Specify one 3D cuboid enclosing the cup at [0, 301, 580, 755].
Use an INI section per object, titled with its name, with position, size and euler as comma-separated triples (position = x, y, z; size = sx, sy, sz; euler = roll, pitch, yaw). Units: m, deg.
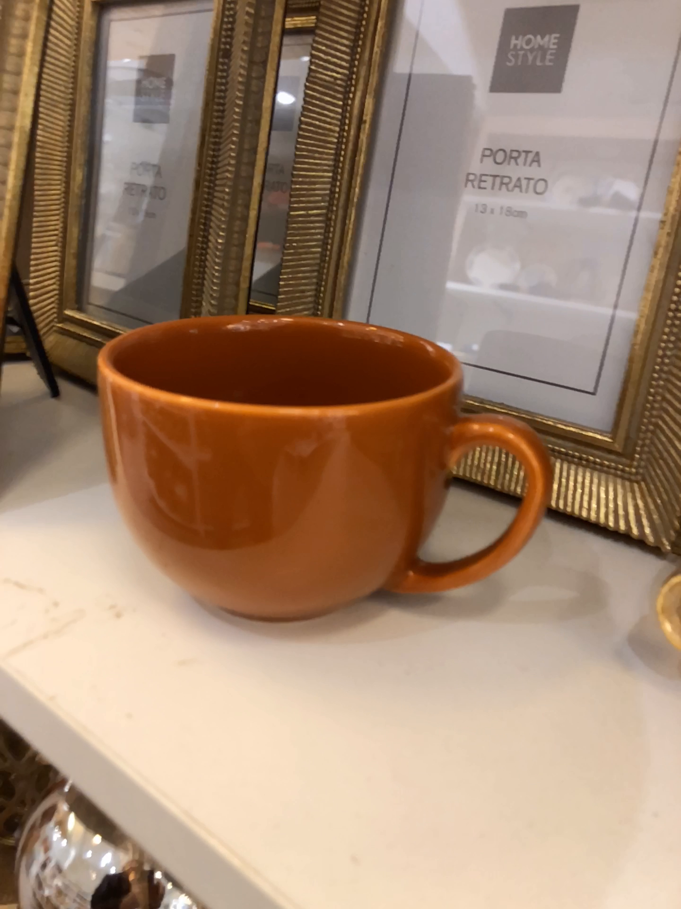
[cup]
position = -0.011, 0.004, 0.197
size = 0.120, 0.060, 0.091
euler = 12, 25, 23
